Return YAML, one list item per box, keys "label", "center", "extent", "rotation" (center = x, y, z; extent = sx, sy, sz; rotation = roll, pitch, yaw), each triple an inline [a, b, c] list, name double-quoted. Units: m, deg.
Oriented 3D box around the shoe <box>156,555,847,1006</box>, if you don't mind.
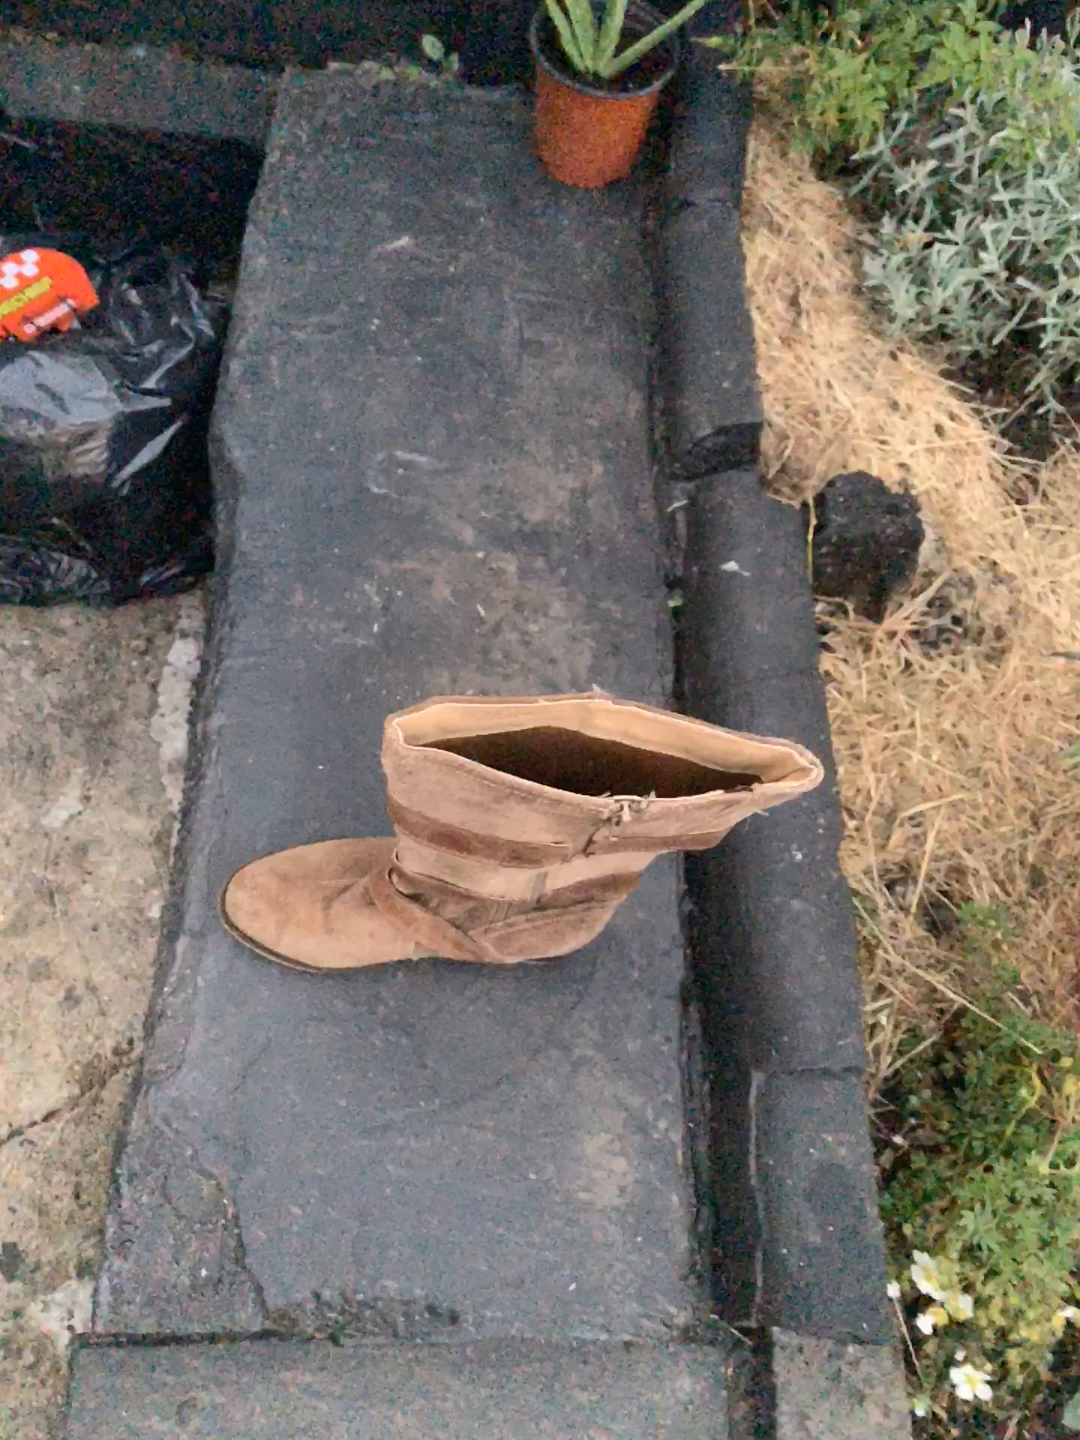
- label: "shoe"
  center: [-0.043, 0.068, 0.617]
  extent: [0.270, 0.378, 0.101]
  rotation: [5, 65, -9]
